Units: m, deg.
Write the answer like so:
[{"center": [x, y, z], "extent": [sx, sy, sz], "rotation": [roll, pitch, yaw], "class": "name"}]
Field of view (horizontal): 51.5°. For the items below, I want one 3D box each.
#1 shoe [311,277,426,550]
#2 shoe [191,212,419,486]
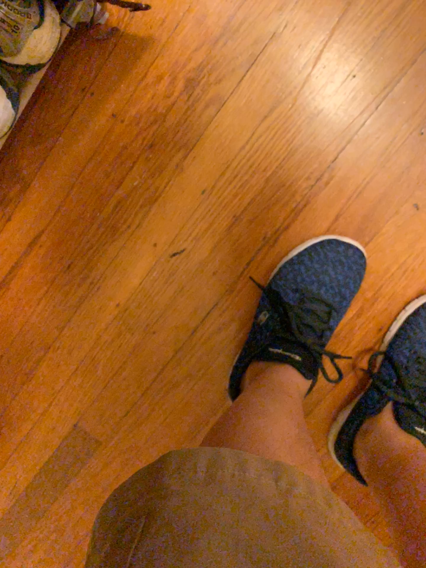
[{"center": [0.249, 0.153, 0.550], "extent": [0.117, 0.130, 0.281], "rotation": [26, 105, 0], "class": "shoe"}, {"center": [0.100, 0.072, 0.558], "extent": [0.115, 0.150, 0.291], "rotation": [28, 105, 0], "class": "shoe"}]
